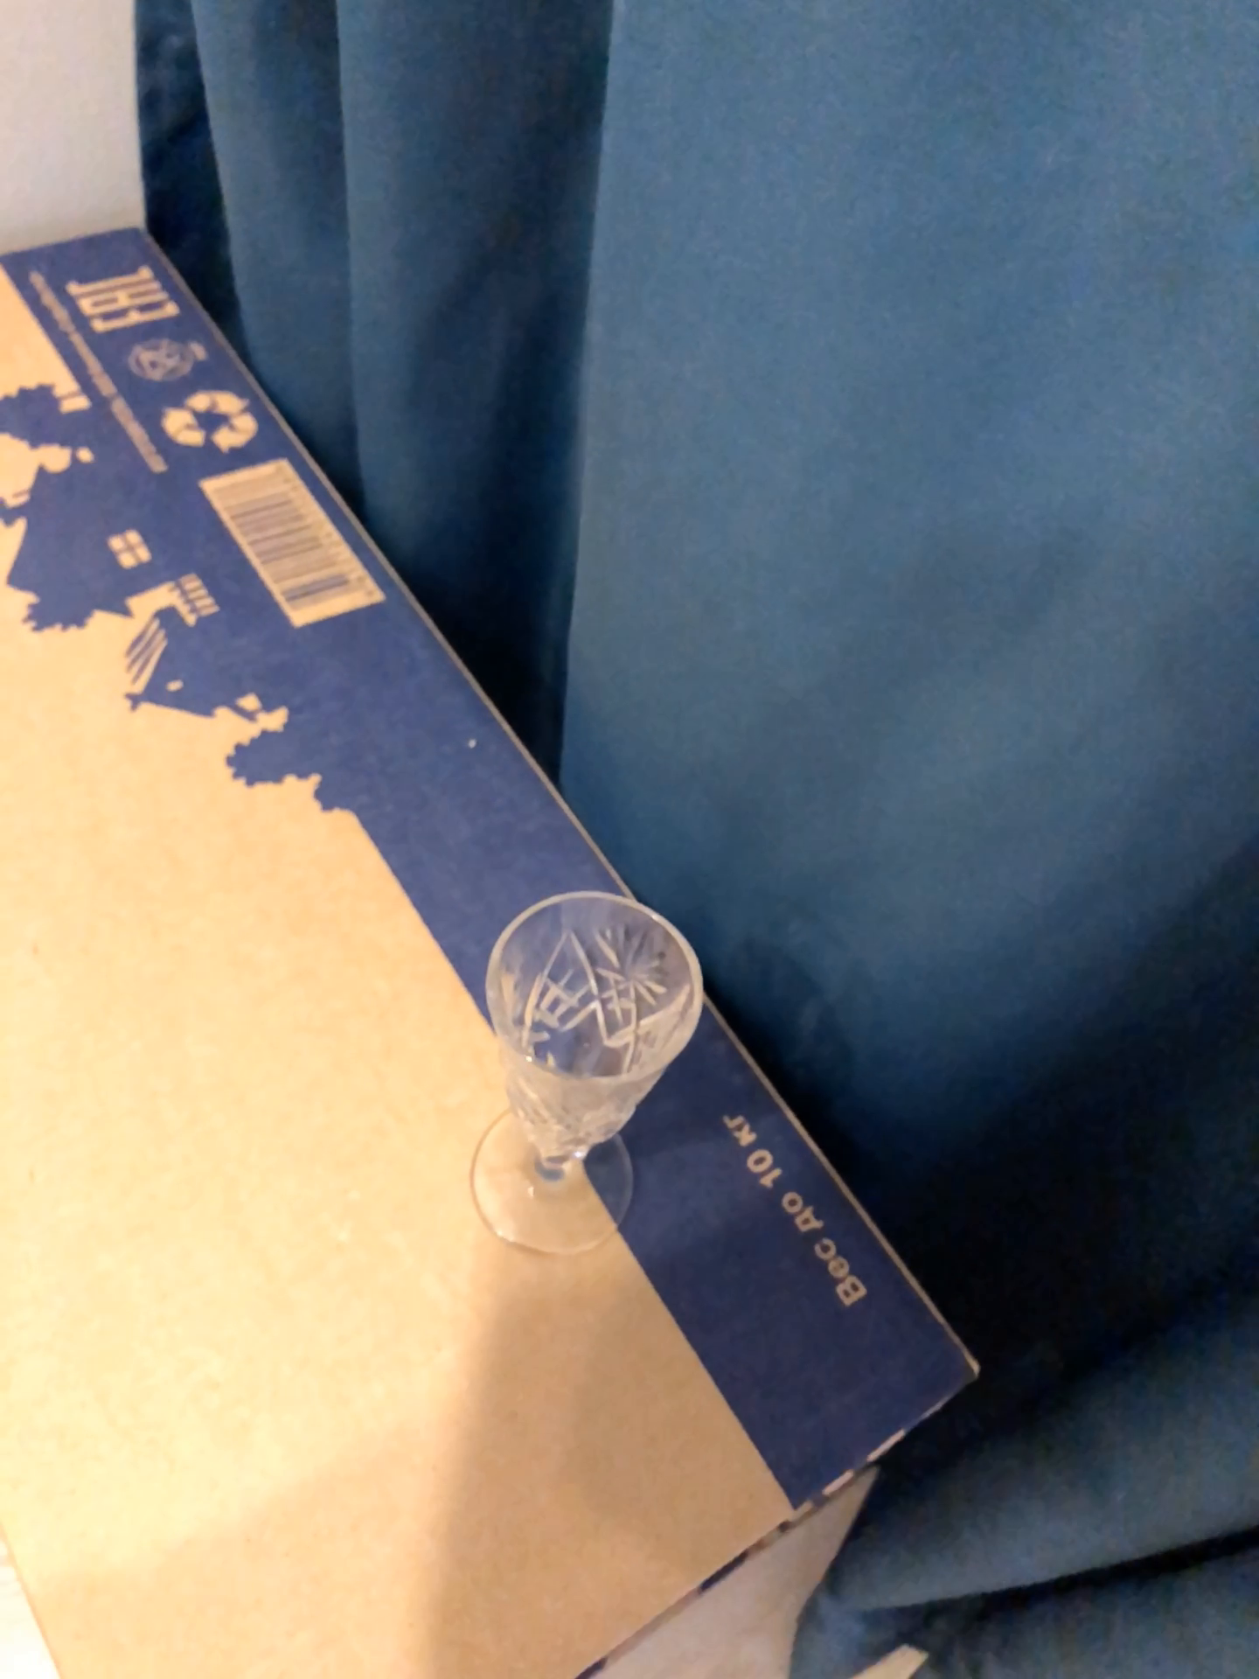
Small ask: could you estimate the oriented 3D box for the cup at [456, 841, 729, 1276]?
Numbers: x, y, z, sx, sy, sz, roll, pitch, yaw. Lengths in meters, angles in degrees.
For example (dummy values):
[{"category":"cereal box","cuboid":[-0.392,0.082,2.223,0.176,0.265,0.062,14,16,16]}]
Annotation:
[{"category":"cup","cuboid":[-0.013,0.058,0.339,0.051,0.119,0.054,3,55,-4]}]
